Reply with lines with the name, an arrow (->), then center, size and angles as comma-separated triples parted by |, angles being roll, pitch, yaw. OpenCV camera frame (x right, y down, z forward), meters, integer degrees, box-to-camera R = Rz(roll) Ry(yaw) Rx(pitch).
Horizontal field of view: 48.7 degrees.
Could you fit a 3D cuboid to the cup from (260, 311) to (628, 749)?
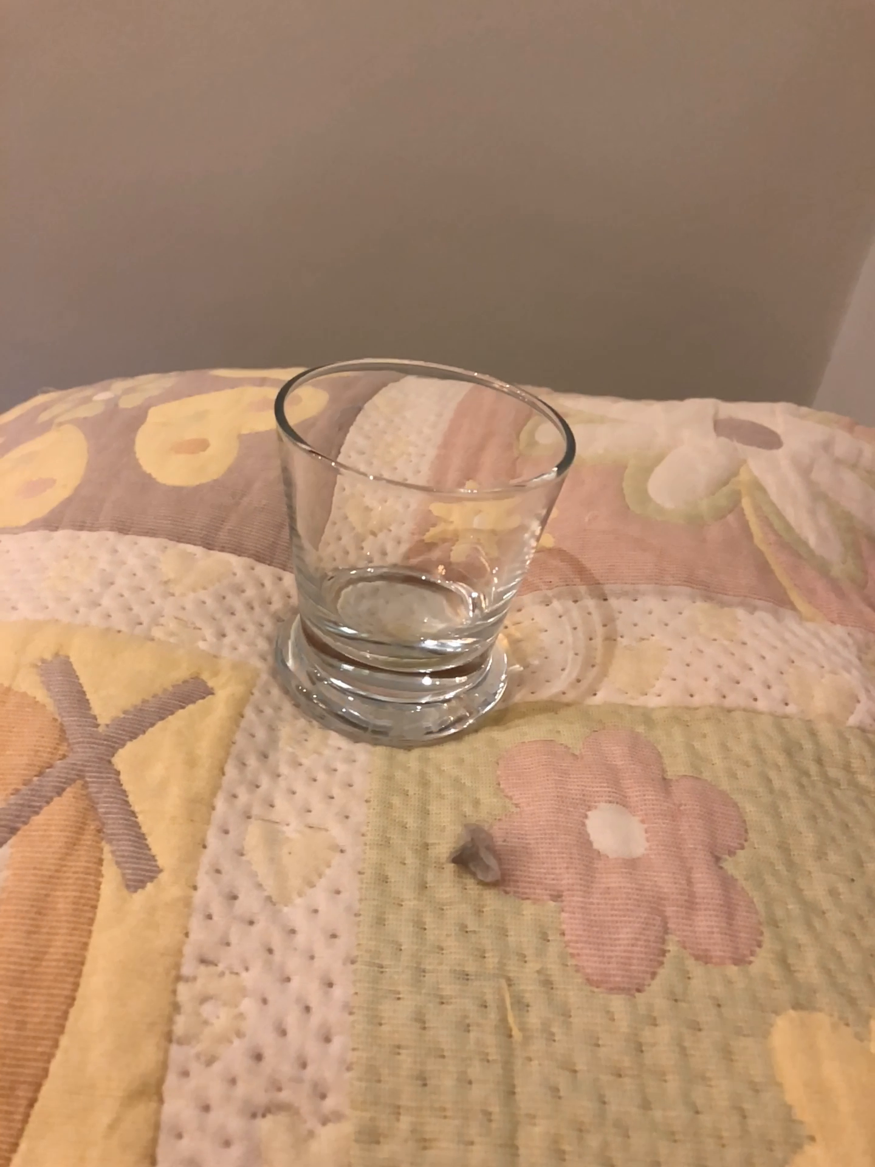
cup -> -0.004, -0.016, 0.282 | 0.080, 0.089, 0.081 | 8, 35, -6
